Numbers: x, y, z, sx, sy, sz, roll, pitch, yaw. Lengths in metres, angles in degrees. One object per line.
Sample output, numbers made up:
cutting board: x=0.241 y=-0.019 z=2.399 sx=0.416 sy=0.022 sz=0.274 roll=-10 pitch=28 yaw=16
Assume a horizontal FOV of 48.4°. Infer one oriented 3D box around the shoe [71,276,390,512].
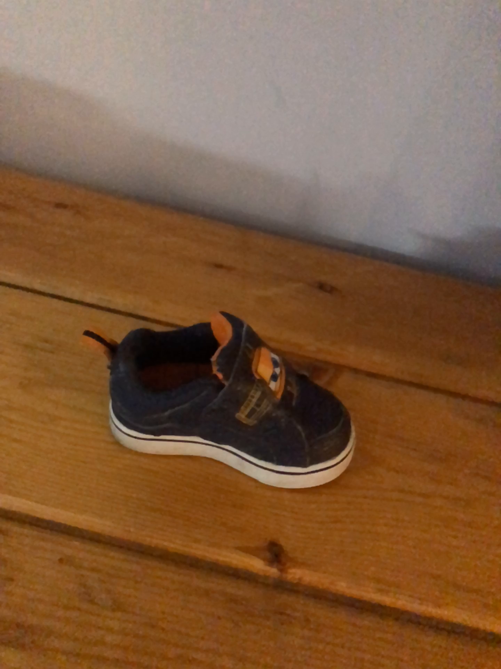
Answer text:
shoe: x=-0.010 y=0.033 z=0.320 sx=0.160 sy=0.070 sz=0.070 roll=14 pitch=44 yaw=1
